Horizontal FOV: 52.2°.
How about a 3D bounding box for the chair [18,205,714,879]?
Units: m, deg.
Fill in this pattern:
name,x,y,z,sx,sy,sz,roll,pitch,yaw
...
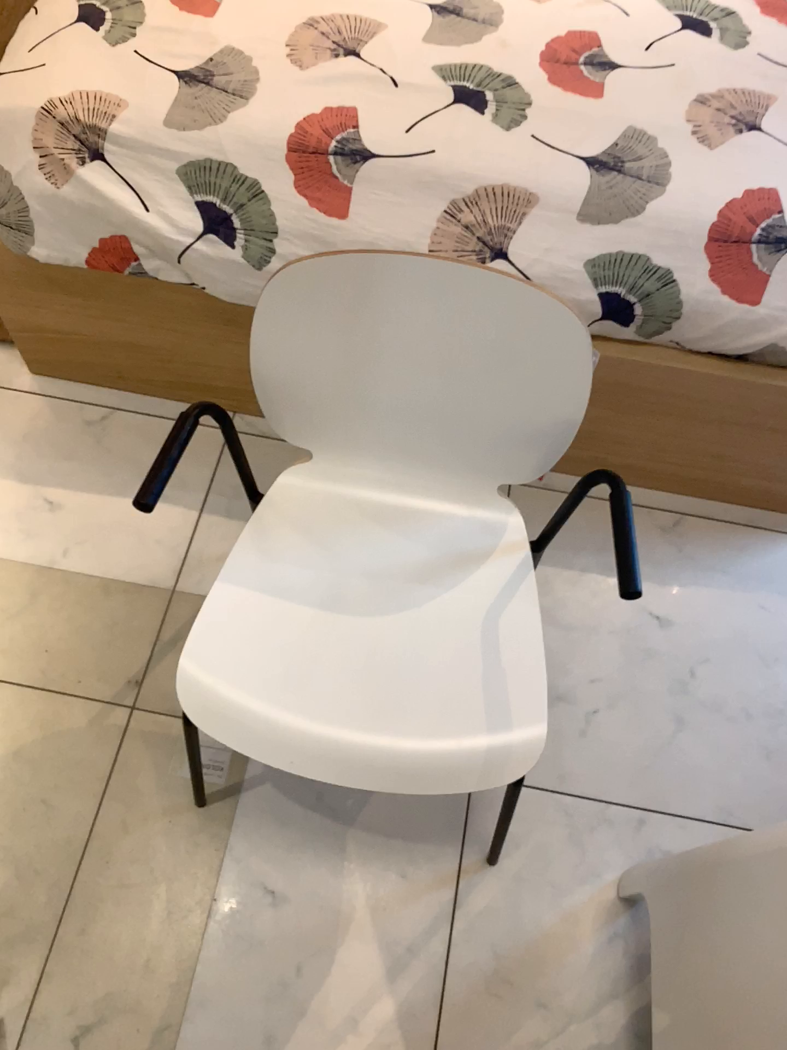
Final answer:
name,x,y,z,sx,sy,sz,roll,pitch,yaw
chair,0.003,0.093,1.059,0.550,0.699,0.541,10,62,2
